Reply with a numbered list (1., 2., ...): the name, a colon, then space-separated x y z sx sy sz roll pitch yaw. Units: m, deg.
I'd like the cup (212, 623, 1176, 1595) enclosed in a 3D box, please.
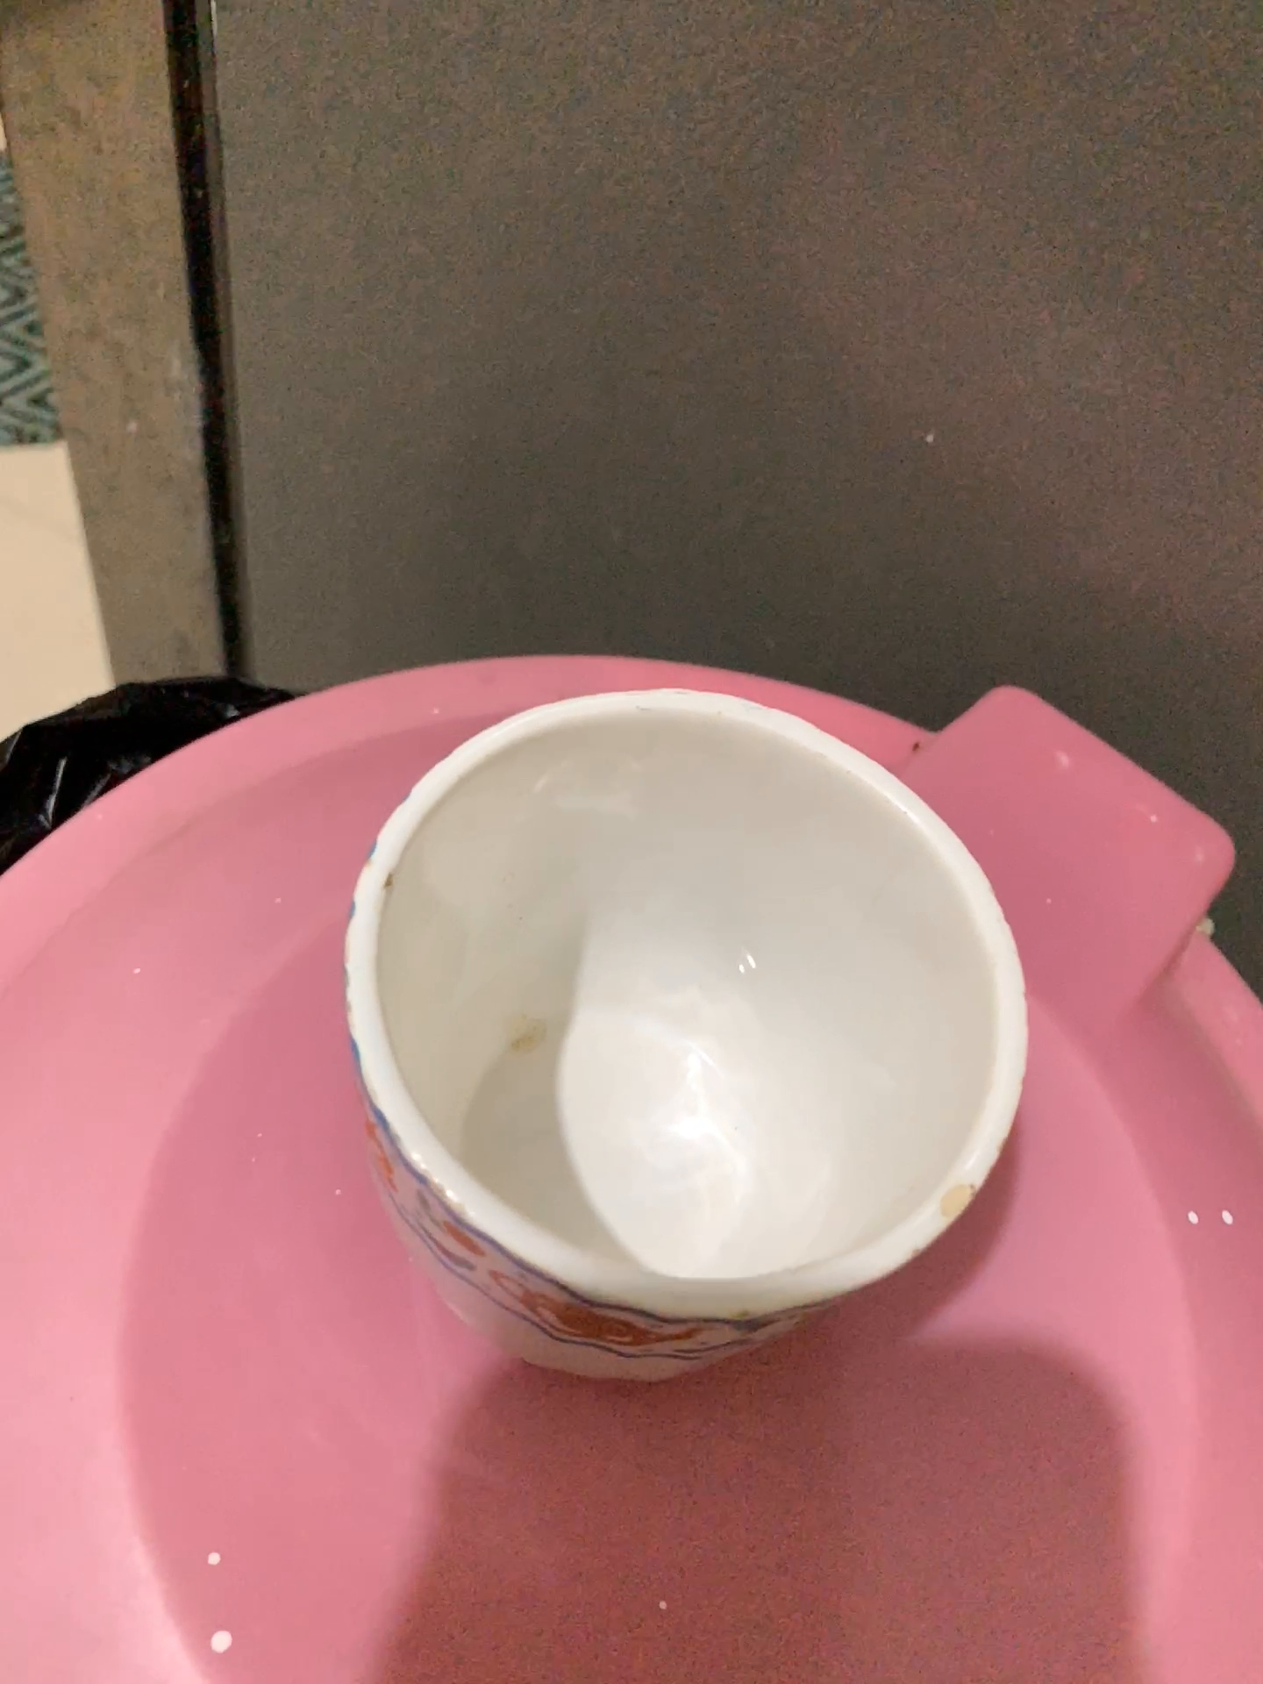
1. cup: 0.001 0.029 0.156 0.070 0.060 0.070 6 55 -9
